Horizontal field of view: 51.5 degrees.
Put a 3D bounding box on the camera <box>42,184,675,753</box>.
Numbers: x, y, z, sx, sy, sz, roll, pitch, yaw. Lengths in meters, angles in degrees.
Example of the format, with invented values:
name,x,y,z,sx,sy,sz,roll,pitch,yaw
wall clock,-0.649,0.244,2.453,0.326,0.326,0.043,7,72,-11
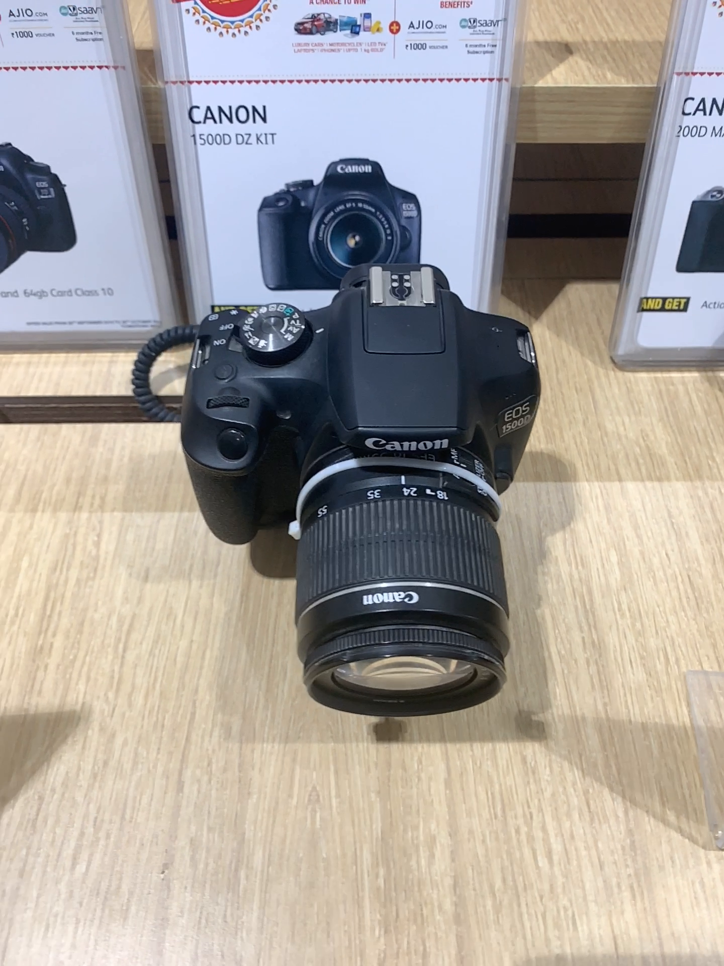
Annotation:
name,x,y,z,sx,sy,sz,roll,pitch,yaw
camera,-0.003,-0.008,0.253,0.140,0.100,0.160,-2,54,-1
